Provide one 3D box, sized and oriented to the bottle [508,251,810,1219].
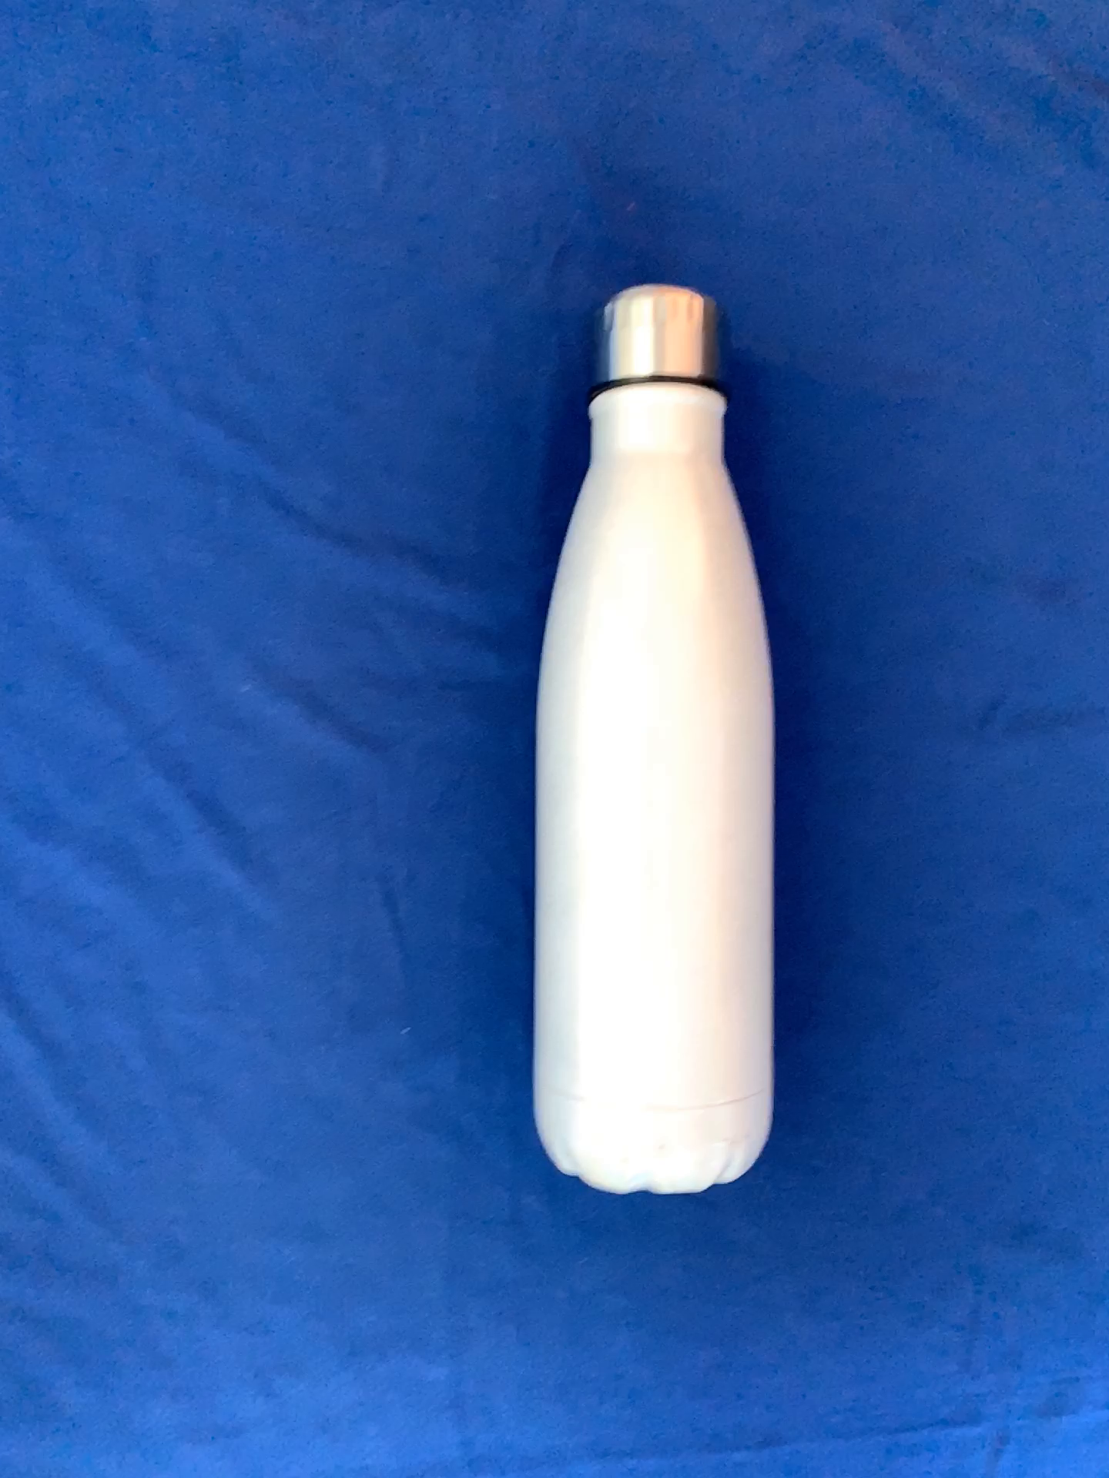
[{"bbox_3d":[0.028,-0.001,0.335,0.080,0.050,0.260,0,91,-6],"label":"bottle"}]
